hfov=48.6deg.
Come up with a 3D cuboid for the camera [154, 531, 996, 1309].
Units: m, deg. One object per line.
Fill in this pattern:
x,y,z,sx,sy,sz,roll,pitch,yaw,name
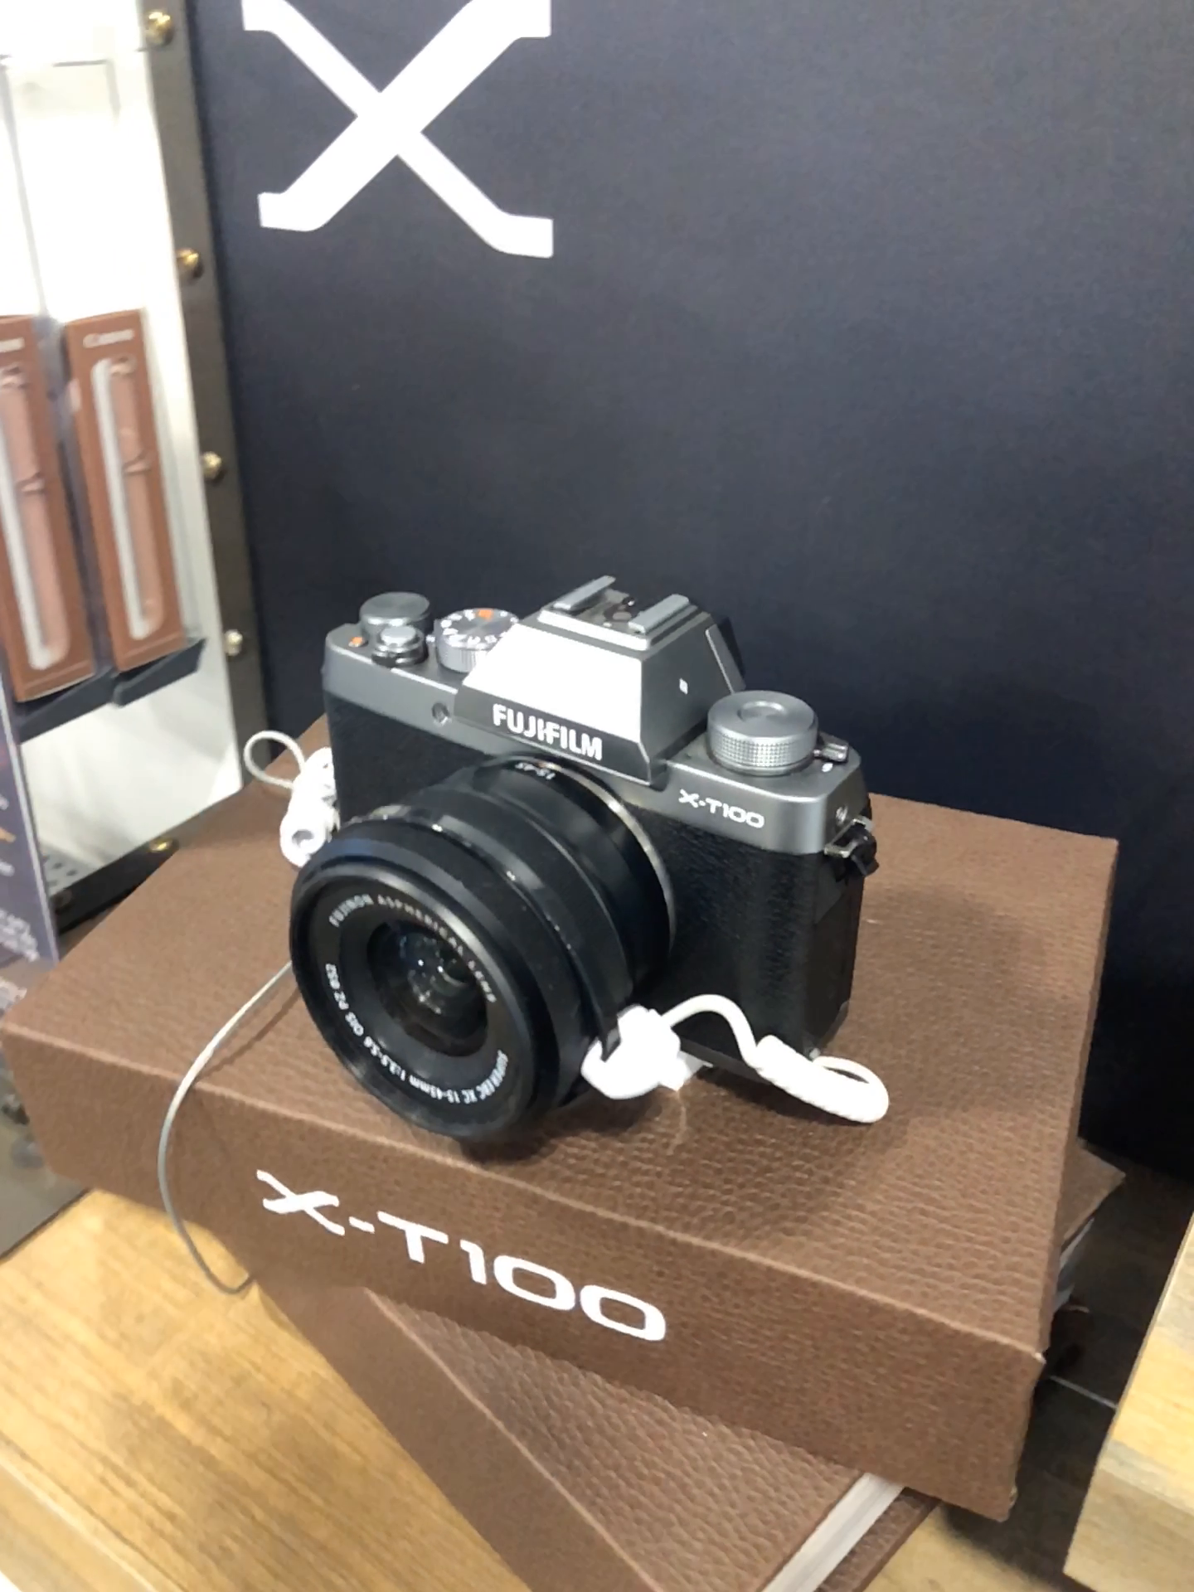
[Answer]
-0.004,0.012,0.279,0.130,0.089,0.100,19,33,30,camera
